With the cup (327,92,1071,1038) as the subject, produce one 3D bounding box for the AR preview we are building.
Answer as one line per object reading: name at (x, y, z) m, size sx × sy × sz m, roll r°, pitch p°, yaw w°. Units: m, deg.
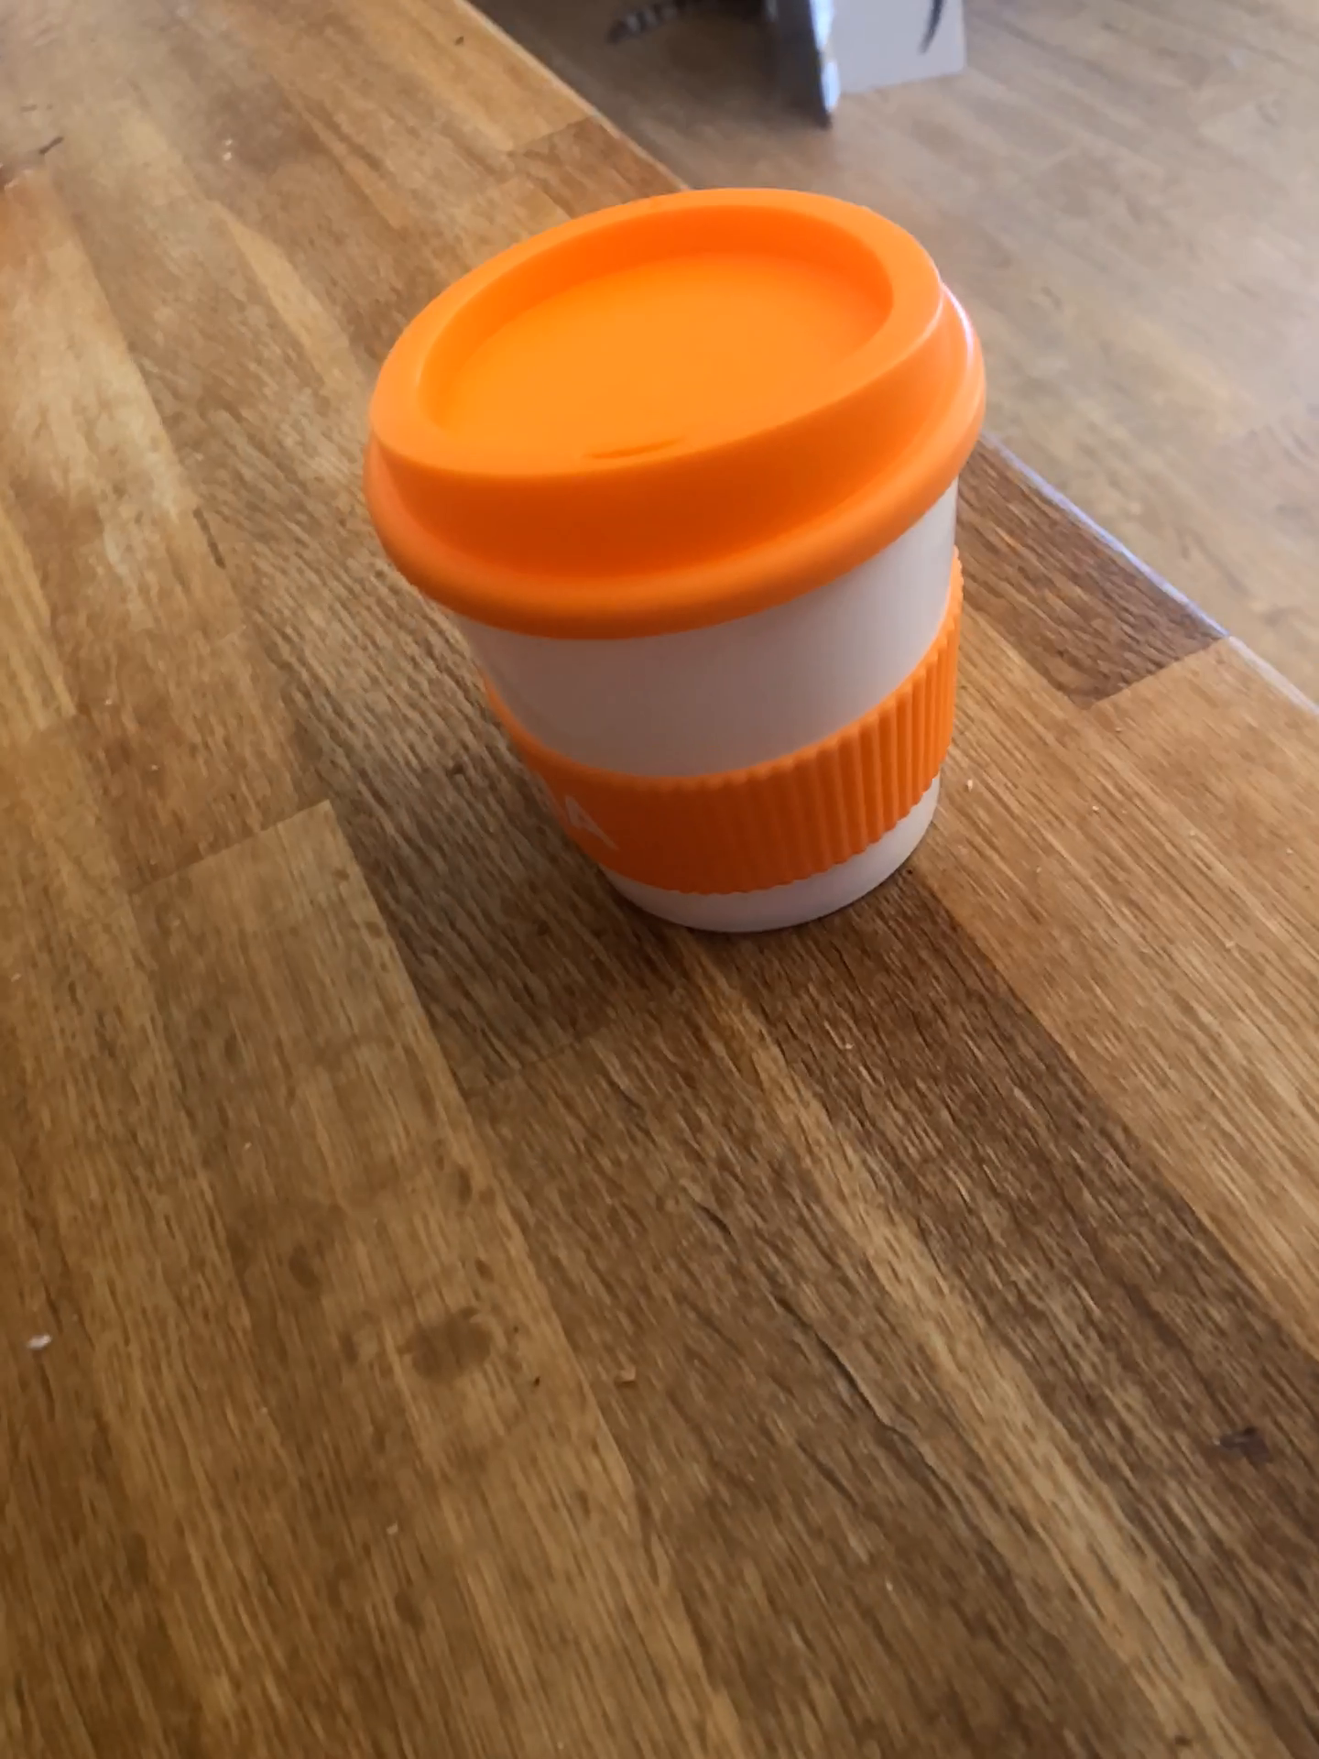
cup at (0.011, -0.043, 0.219) m, size 0.081 × 0.089 × 0.089 m, roll -9°, pitch 50°, yaw 8°
